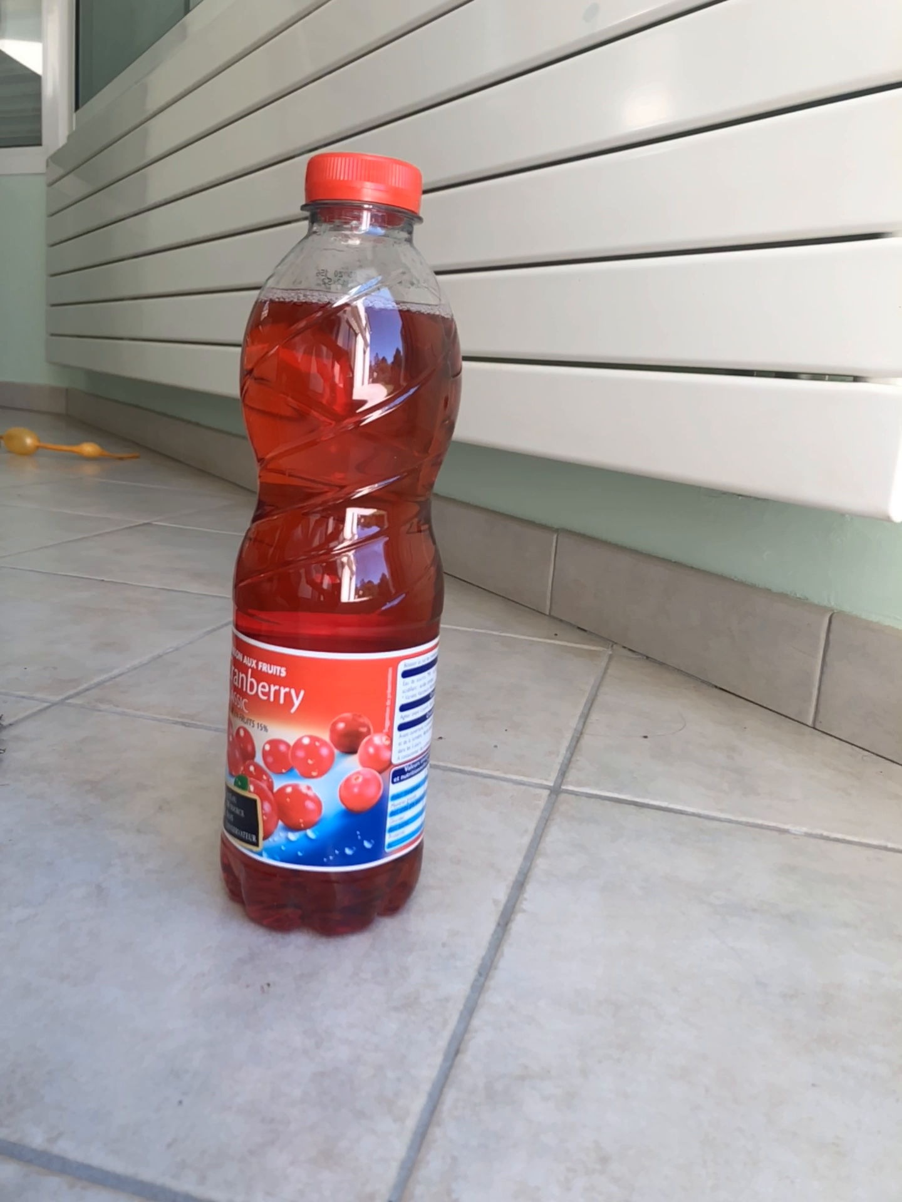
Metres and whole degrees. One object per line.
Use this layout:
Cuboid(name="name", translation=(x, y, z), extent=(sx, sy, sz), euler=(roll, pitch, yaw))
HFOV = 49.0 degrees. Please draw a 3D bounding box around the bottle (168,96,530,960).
Cuboid(name="bottle", translation=(-0.043, -0.023, 0.353), extent=(0.080, 0.259, 0.090), euler=(-5, 15, -37))
